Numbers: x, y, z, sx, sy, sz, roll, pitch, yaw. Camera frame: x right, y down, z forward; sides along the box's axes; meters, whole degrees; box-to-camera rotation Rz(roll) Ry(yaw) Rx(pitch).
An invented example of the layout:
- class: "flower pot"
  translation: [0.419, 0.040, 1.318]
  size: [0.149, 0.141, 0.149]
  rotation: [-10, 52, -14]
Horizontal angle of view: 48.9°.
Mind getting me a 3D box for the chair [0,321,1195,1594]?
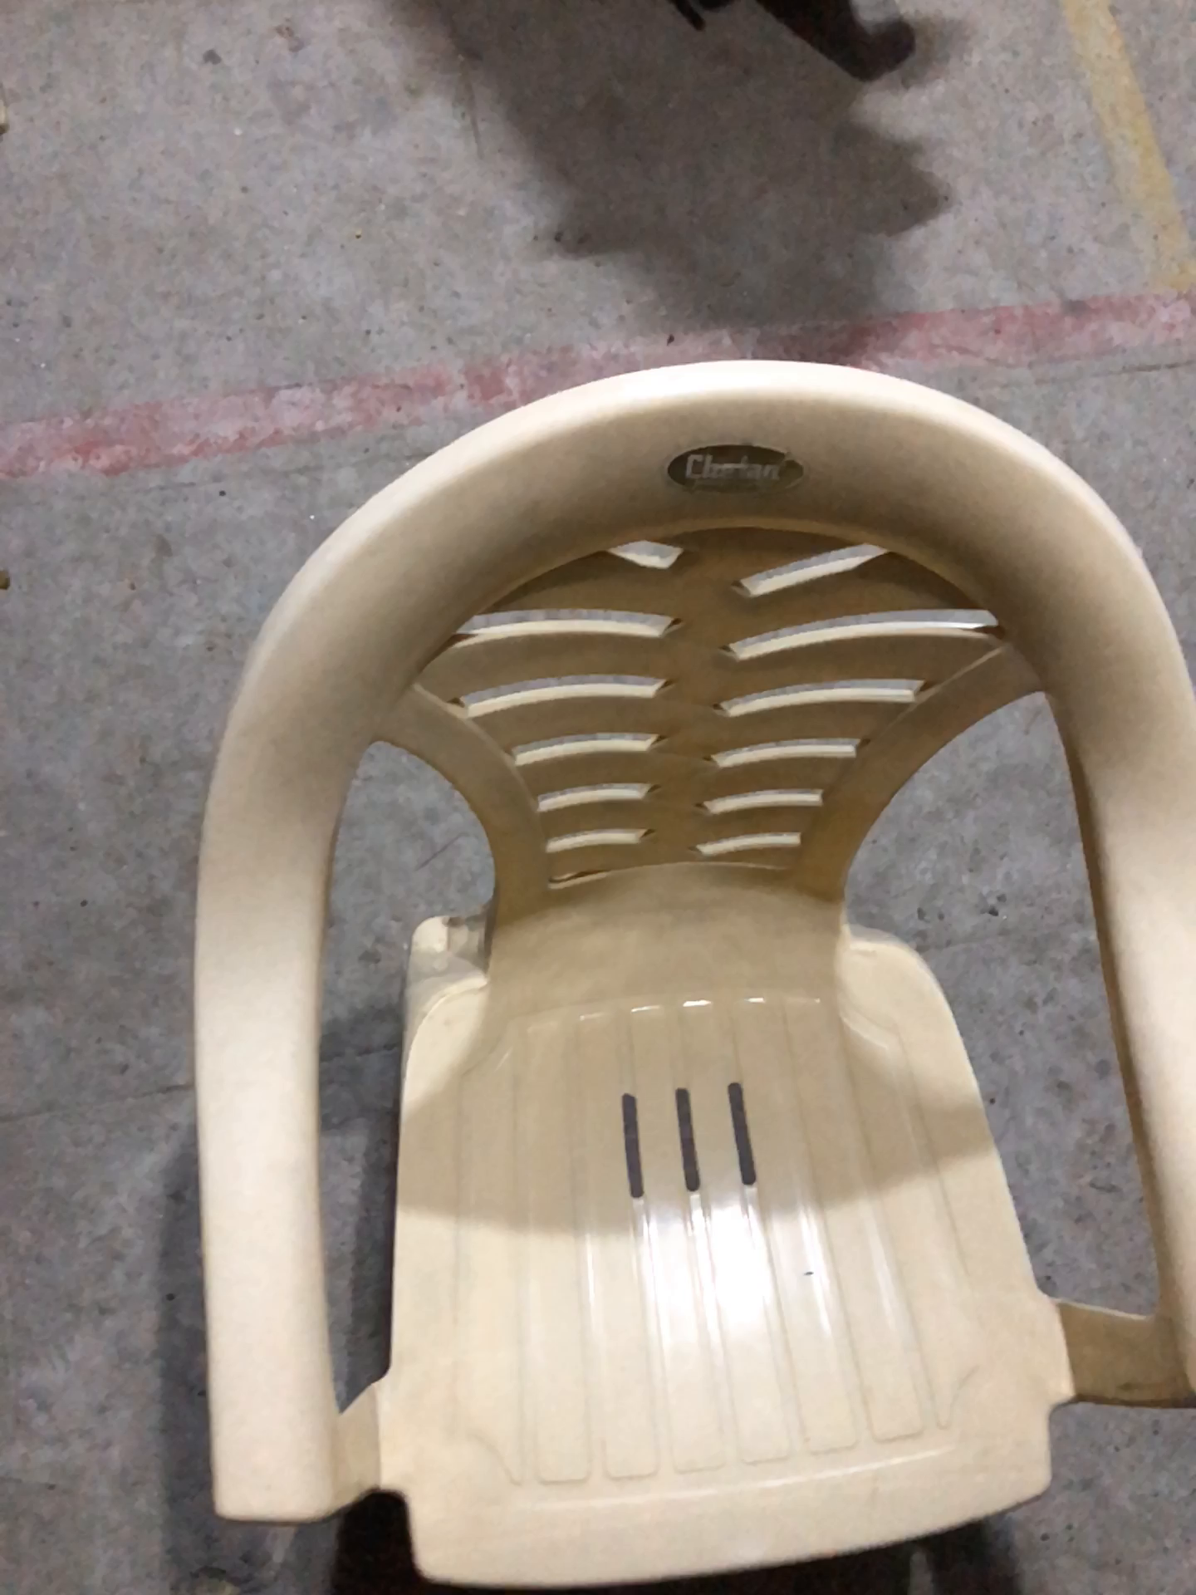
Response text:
- class: "chair"
  translation: [0.071, 0.211, 0.808]
  size: [0.560, 0.868, 0.561]
  rotation: [-2, 77, -6]
